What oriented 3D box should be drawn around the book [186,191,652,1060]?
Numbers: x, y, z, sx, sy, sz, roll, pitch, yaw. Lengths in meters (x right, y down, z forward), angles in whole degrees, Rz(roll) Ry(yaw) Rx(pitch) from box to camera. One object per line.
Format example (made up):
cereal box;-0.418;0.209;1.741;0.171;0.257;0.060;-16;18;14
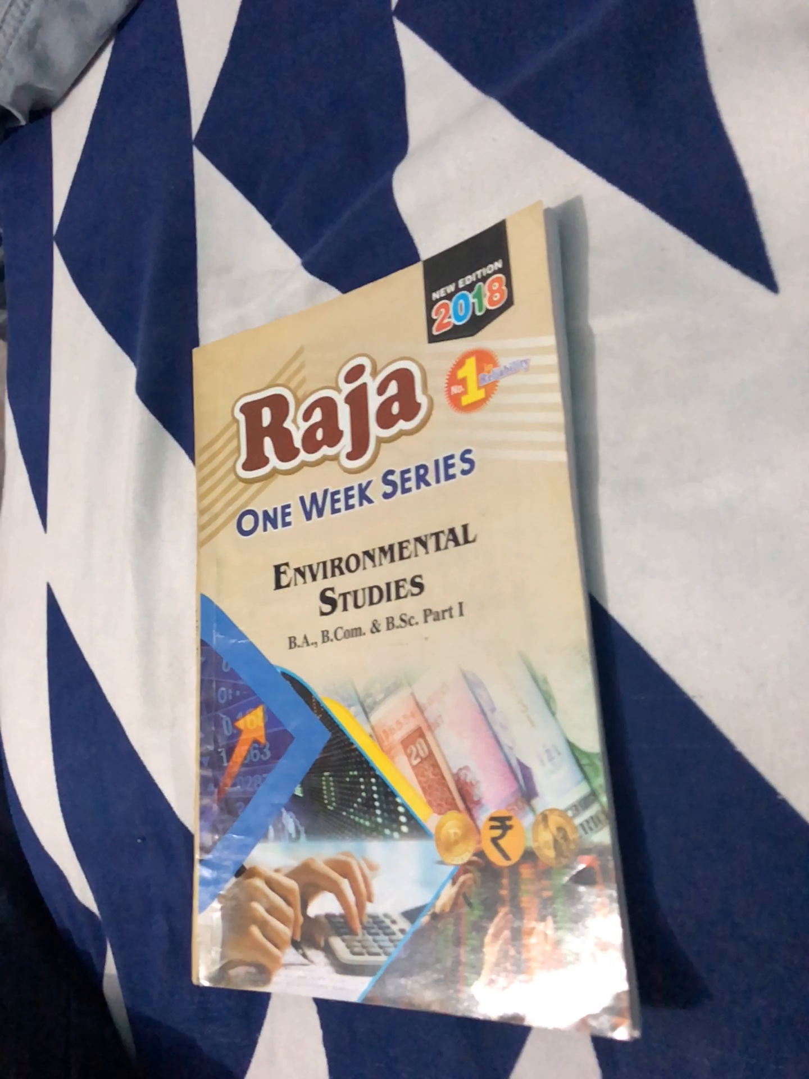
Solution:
book;-0.011;0.022;0.252;0.141;0.010;0.200;-14;72;37
